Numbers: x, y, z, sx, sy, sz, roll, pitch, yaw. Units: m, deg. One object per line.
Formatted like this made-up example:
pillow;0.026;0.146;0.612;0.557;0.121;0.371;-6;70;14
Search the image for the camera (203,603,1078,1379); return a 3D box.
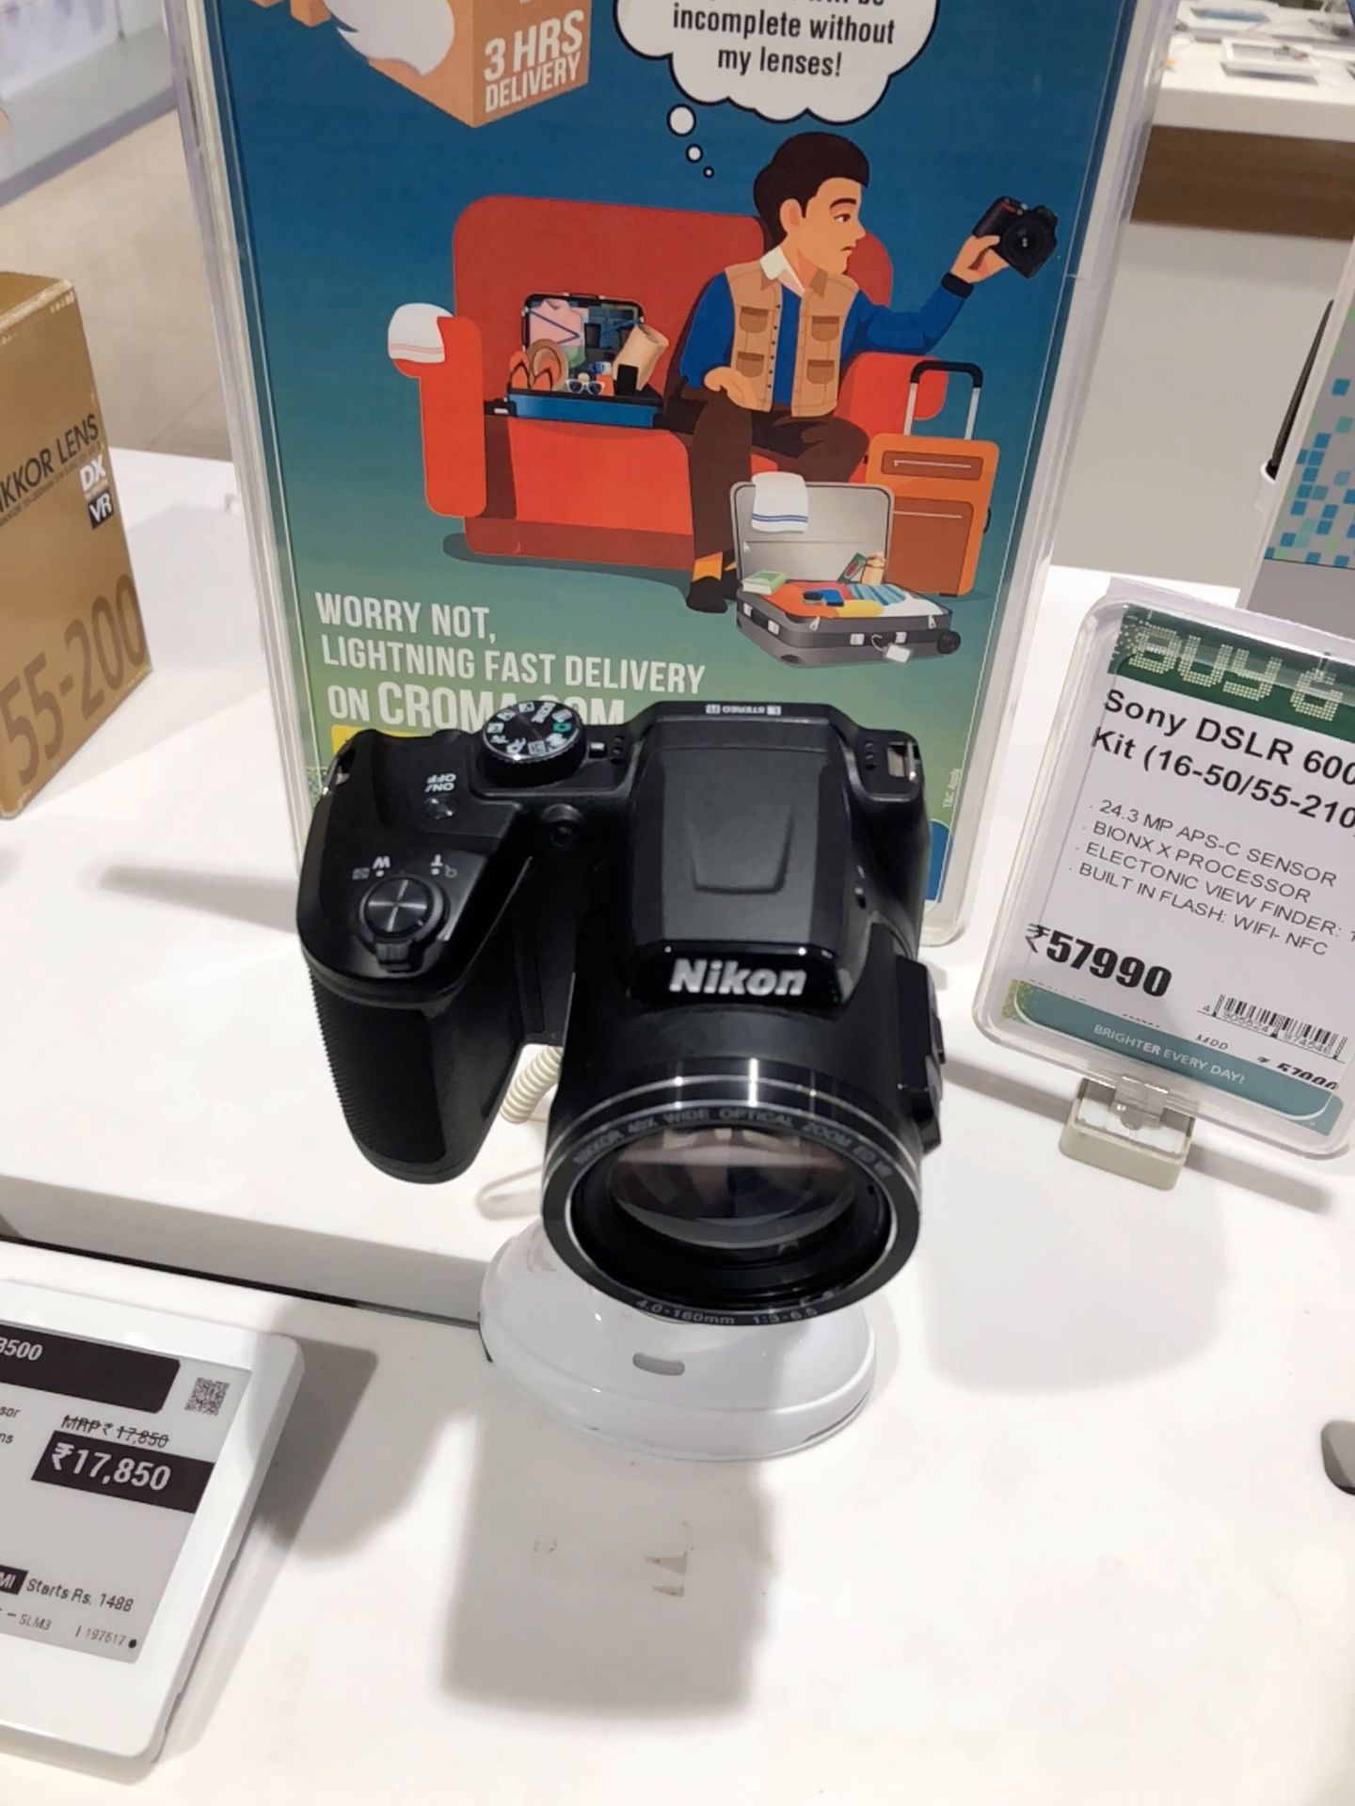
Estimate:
camera;-0.005;0.010;0.253;0.110;0.070;0.111;2;40;-1
